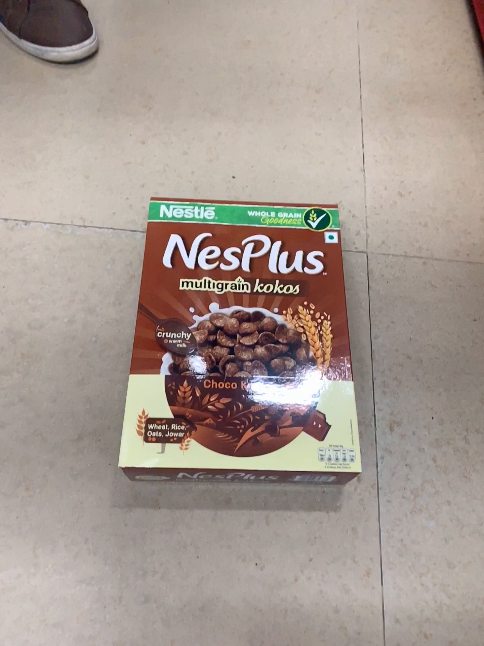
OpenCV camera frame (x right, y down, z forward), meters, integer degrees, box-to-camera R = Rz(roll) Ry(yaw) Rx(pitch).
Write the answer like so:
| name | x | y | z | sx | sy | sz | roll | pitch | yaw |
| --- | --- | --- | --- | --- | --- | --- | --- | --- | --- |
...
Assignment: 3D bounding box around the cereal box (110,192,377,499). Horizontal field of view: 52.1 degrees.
| name | x | y | z | sx | sy | sz | roll | pitch | yaw |
| --- | --- | --- | --- | --- | --- | --- | --- | --- | --- |
| cereal box | 0.004 | 0.017 | 0.490 | 0.210 | 0.090 | 0.281 | 3 | 64 | -2 |
